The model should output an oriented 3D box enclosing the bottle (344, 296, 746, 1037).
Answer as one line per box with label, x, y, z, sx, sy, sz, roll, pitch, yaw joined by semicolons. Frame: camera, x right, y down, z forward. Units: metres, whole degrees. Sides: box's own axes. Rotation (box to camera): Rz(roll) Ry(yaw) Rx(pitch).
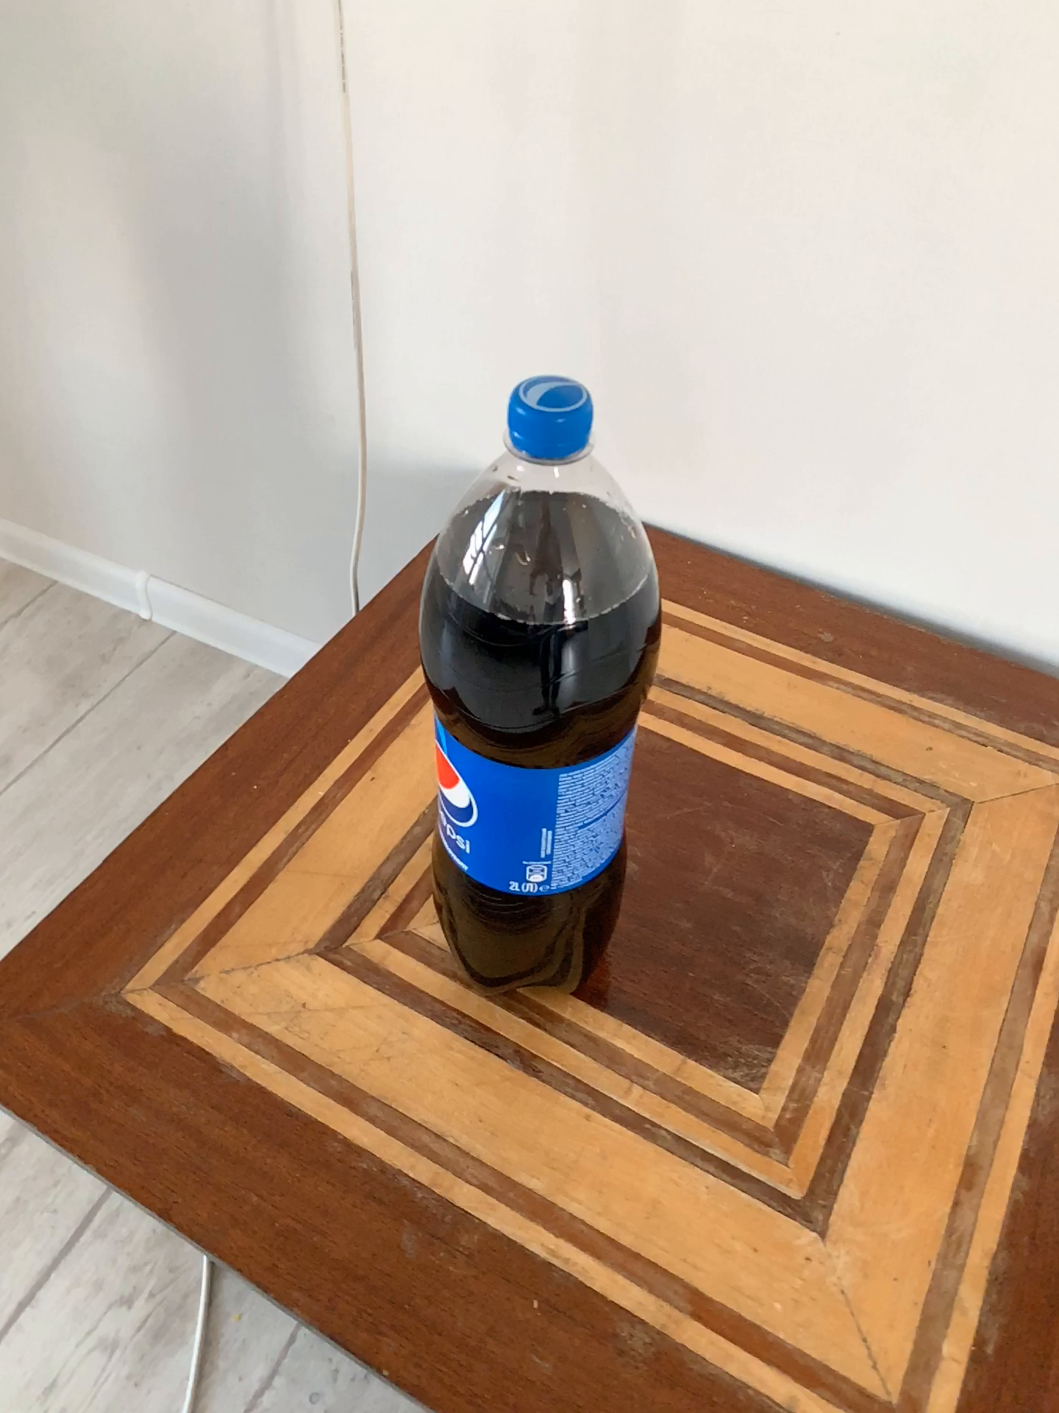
bottle;0.000;0.007;0.495;0.100;0.339;0.100;1;47;-1
